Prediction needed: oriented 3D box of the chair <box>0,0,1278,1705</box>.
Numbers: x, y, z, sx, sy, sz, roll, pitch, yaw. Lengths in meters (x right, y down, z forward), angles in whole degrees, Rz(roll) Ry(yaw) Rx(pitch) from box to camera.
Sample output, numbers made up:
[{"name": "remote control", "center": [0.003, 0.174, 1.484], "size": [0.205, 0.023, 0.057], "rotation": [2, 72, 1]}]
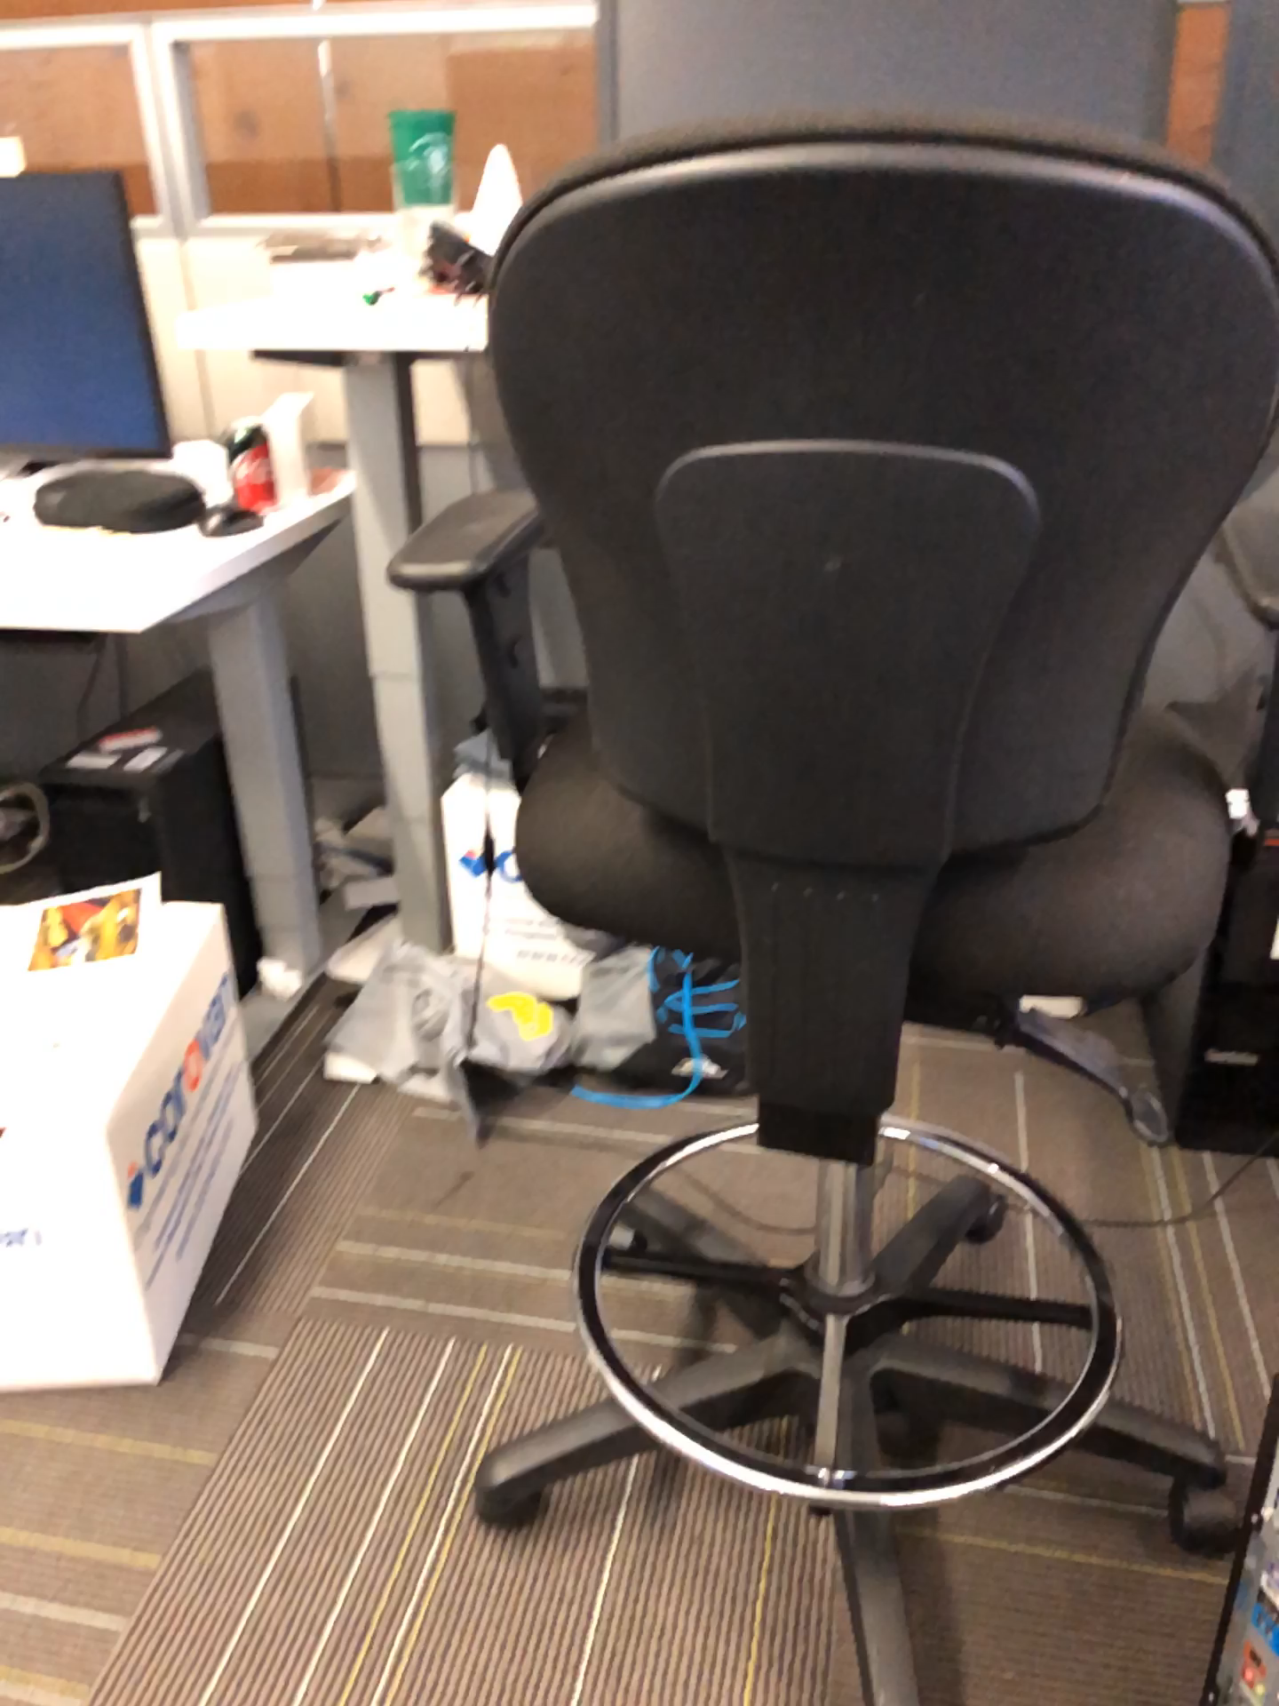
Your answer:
[{"name": "chair", "center": [0.086, 0.004, 1.165], "size": [0.890, 1.104, 0.965], "rotation": [3, 26, 10]}]
